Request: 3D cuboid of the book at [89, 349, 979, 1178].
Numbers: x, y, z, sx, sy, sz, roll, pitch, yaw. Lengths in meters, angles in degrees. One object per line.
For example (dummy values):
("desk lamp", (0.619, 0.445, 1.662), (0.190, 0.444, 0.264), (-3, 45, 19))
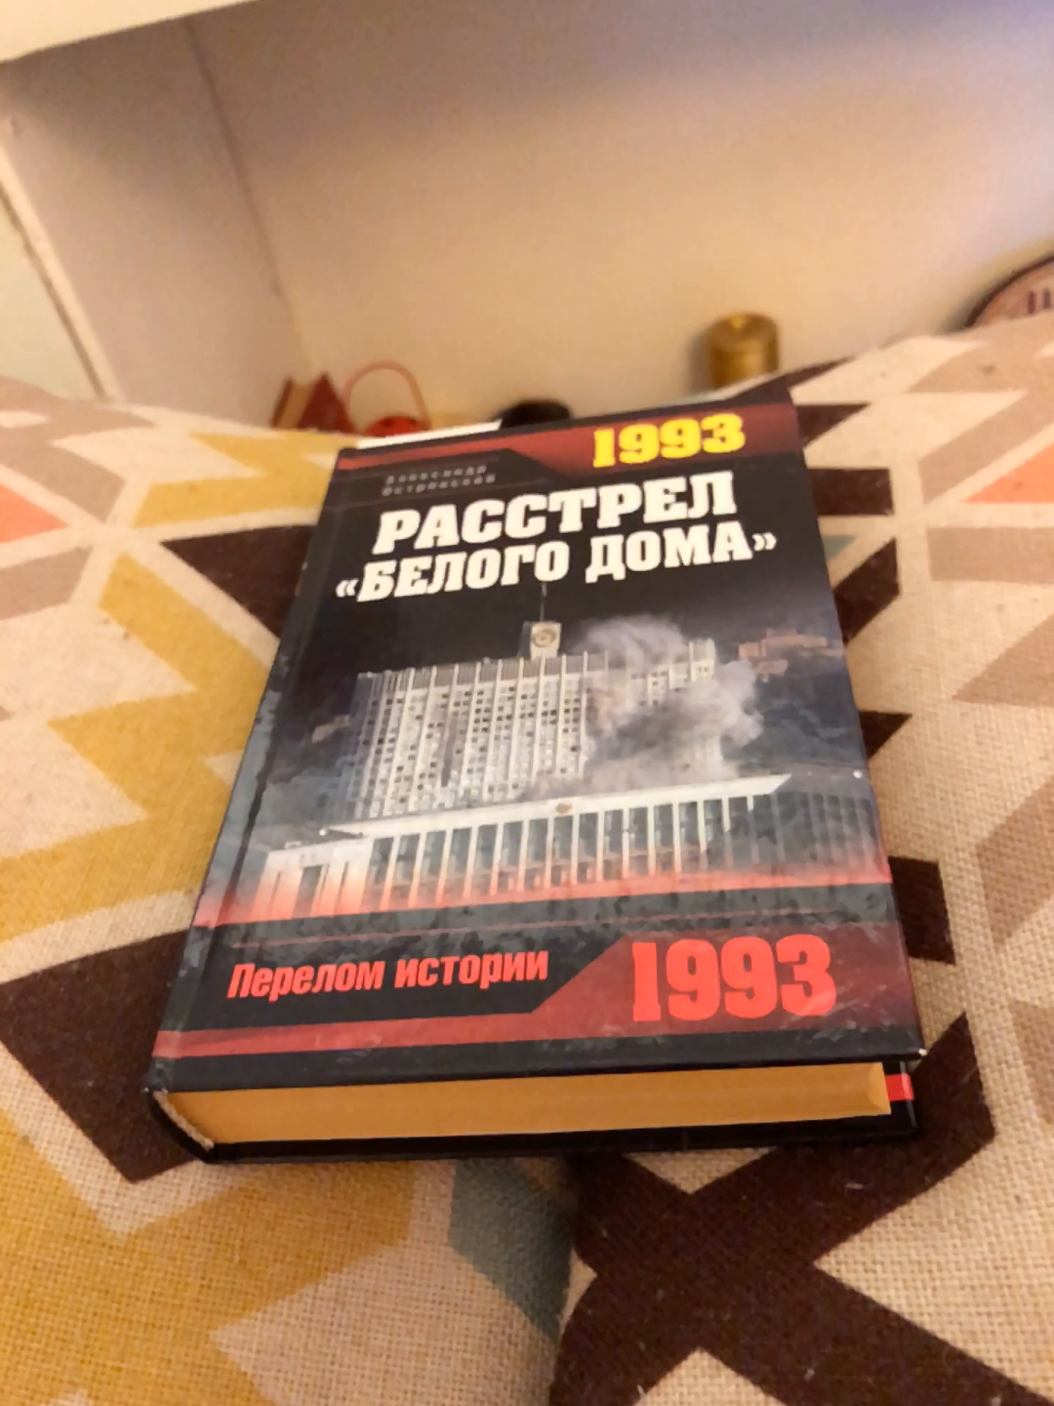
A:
("book", (0.004, -0.006, 0.268), (0.140, 0.030, 0.211), (-7, 43, 10))
